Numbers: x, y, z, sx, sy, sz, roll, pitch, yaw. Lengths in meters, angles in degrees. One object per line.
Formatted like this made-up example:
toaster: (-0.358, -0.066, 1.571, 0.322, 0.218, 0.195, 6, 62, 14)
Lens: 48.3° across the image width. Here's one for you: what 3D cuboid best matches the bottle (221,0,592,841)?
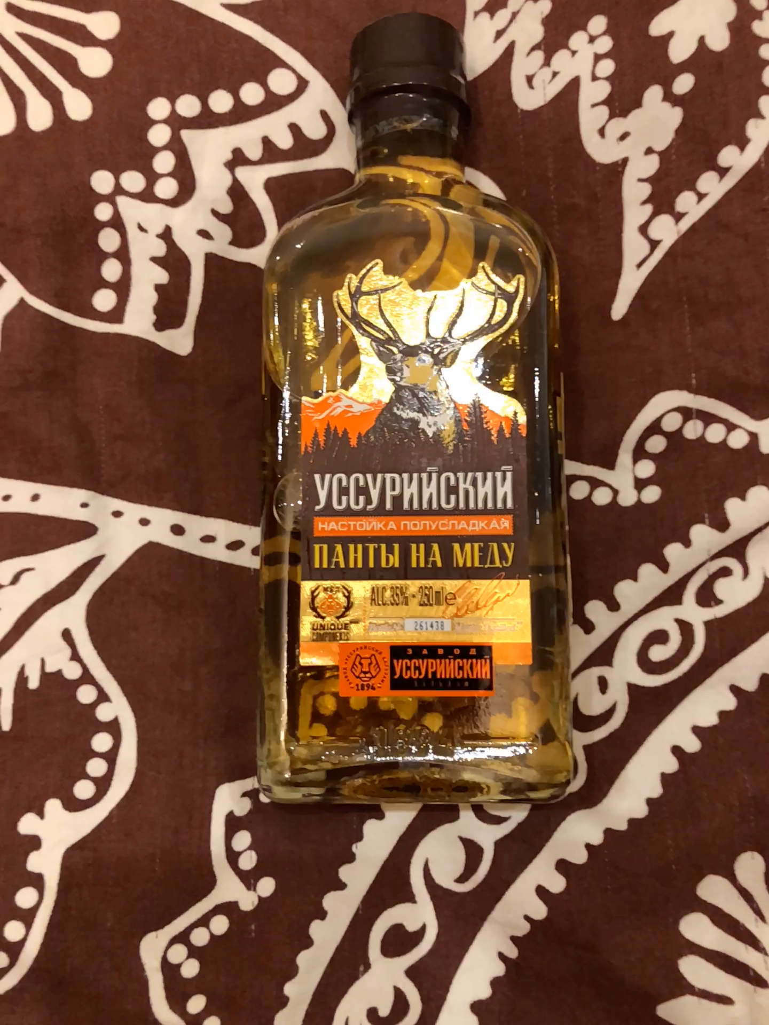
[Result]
bottle: (0.006, -0.029, 0.201, 0.070, 0.050, 0.190, -1, 81, 4)
